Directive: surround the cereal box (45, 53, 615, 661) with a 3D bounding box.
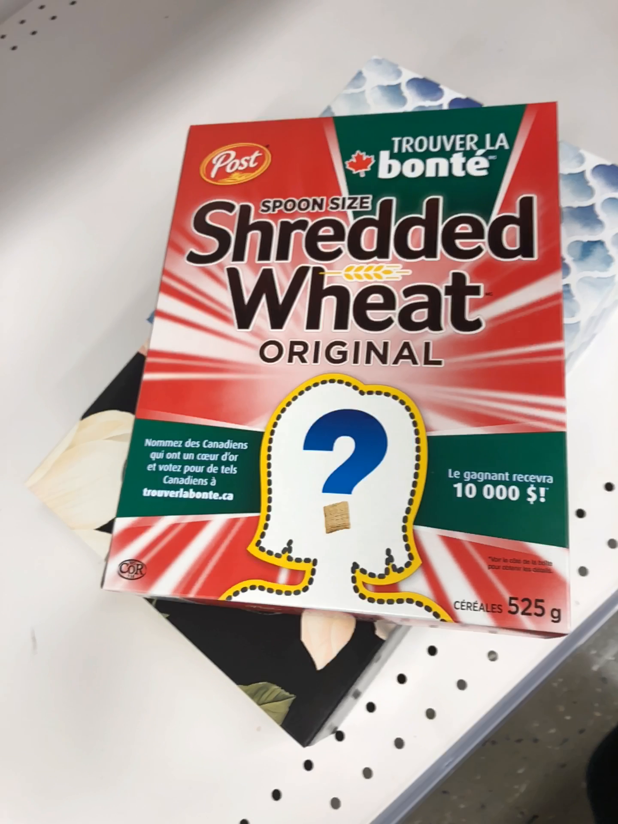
[{"bbox_3d":[0.018,-0.037,0.346,0.230,0.060,0.280,2,70,14],"label":"cereal box"}]
